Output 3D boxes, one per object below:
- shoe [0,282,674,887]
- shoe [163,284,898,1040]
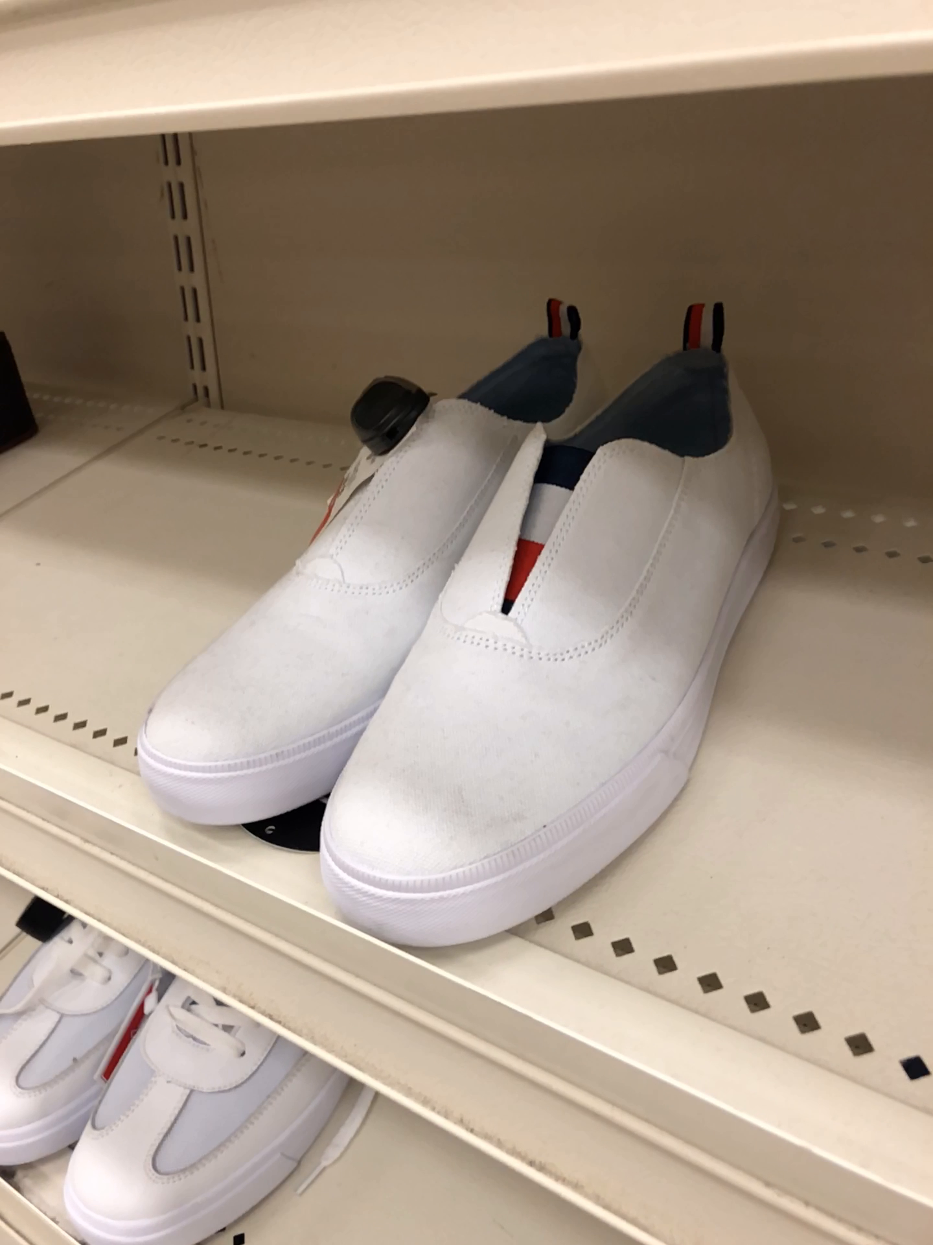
[{"bbox_3d":[-0.032,-0.044,0.399,0.100,0.089,0.292,14,38,34],"label":"shoe"},{"bbox_3d":[0.055,-0.022,0.370,0.100,0.109,0.302,14,38,34],"label":"shoe"}]
